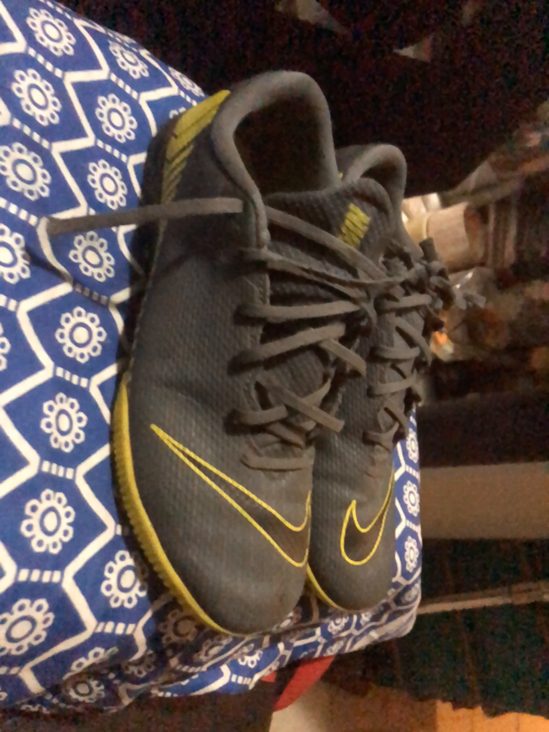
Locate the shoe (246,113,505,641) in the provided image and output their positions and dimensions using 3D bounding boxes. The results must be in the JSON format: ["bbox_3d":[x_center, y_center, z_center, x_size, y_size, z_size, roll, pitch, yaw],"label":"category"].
[{"bbox_3d":[0.051,0.007,0.334,0.091,0.089,0.240,11,72,-49],"label":"shoe"}]

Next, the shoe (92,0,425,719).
[{"bbox_3d":[-0.009,-0.006,0.257,0.091,0.089,0.240,11,72,-49],"label":"shoe"}]
